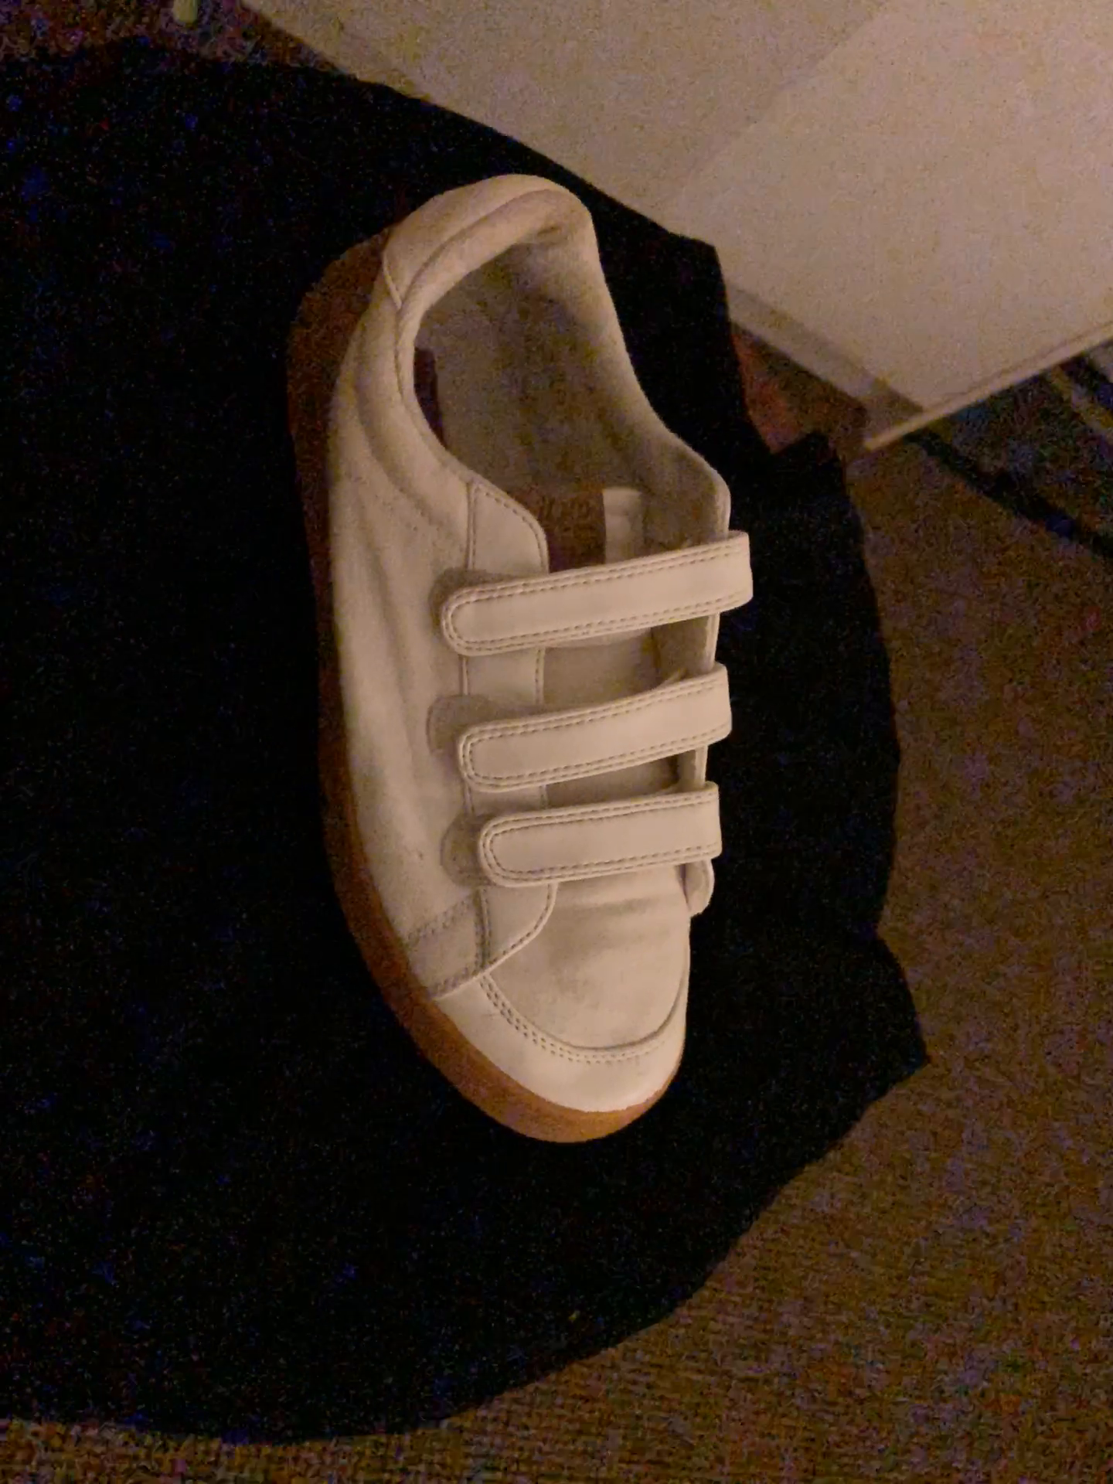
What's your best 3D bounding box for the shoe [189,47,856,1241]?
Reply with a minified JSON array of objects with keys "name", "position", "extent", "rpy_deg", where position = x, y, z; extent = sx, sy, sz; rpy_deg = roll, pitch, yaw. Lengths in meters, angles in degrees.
[{"name":"shoe","position":[-0.013,-0.025,0.297],"extent":[0.096,0.080,0.254],"rpy_deg":[-11,87,-30]}]
